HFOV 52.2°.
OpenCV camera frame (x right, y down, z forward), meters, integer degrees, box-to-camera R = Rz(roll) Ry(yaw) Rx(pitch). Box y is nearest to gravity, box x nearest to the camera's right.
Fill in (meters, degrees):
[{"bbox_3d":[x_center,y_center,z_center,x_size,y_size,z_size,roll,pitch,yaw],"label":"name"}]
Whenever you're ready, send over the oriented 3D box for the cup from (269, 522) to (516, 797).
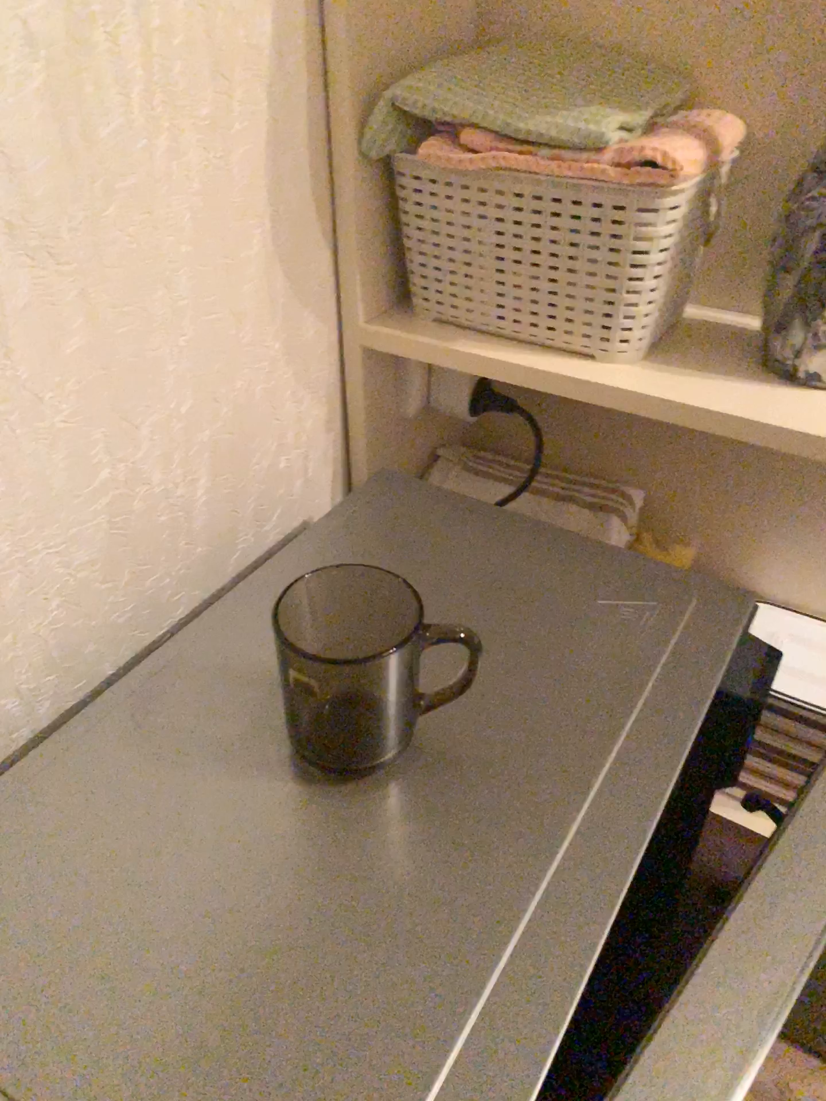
[{"bbox_3d":[-0.013,0.054,0.436,0.102,0.094,0.078,-11,38,-14],"label":"cup"}]
